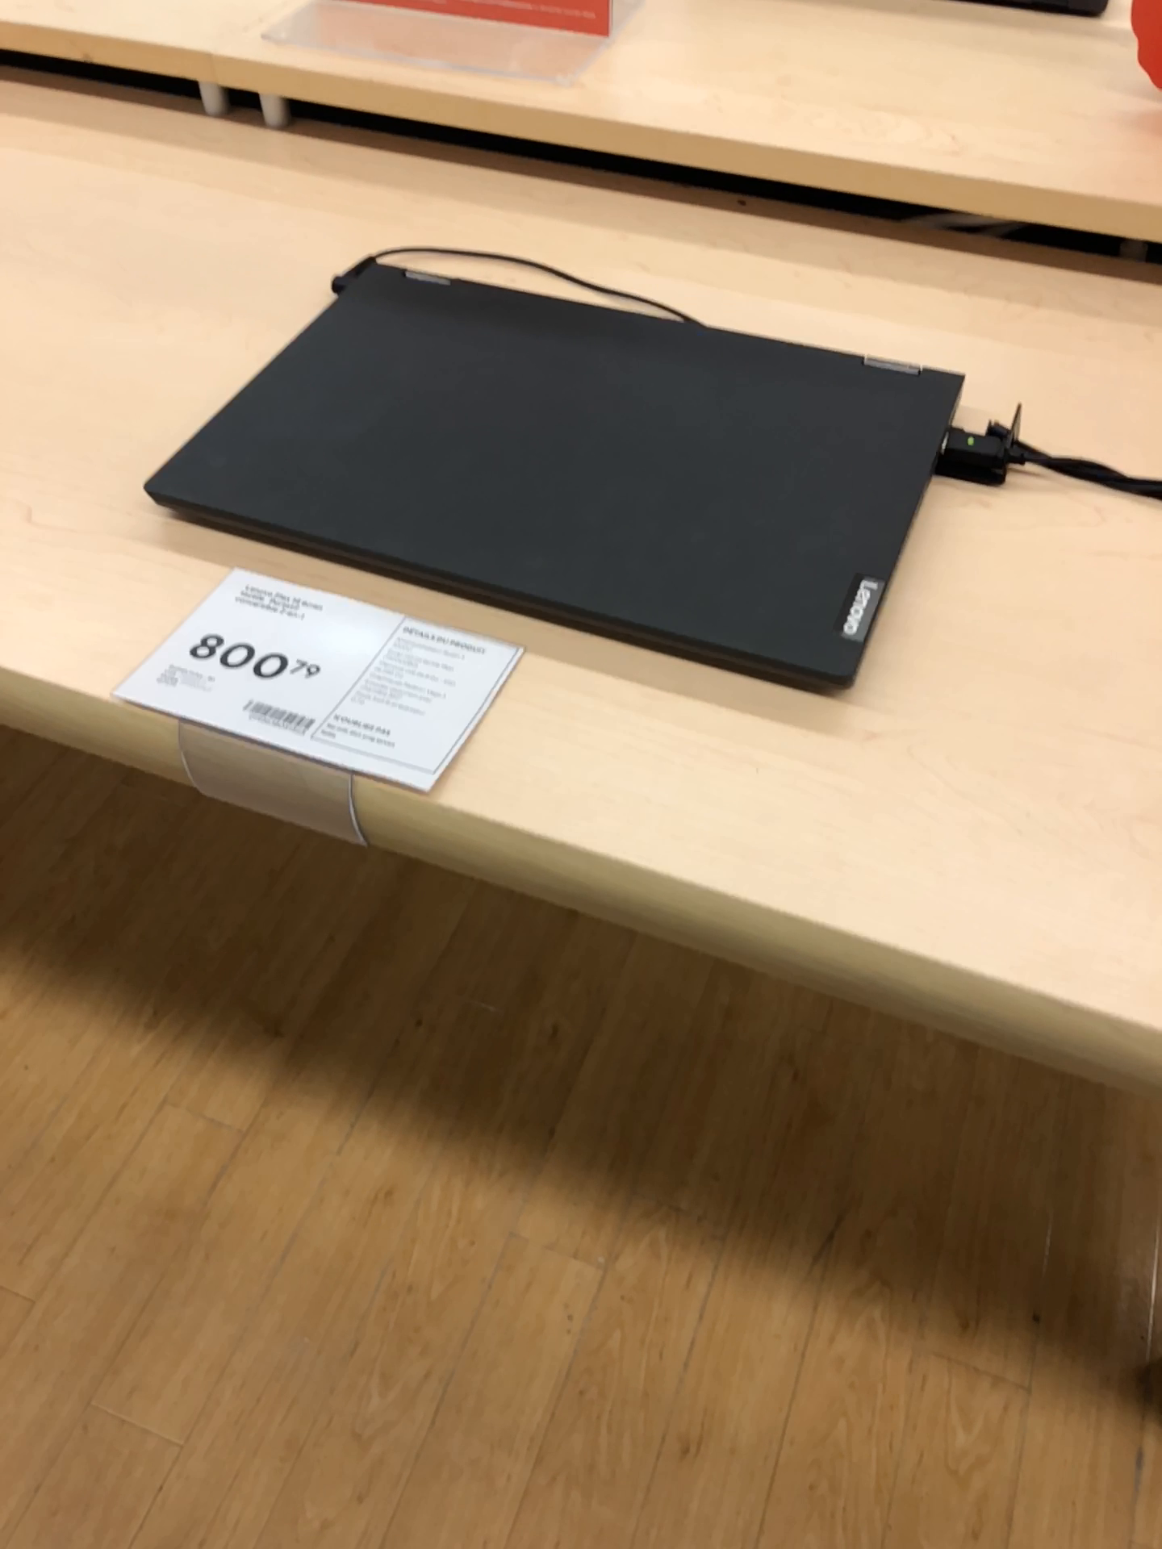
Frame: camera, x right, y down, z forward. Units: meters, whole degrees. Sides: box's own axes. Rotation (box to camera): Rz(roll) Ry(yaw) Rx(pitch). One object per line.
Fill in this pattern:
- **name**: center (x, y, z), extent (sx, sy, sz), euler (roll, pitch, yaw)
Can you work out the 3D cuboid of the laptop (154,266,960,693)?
- **laptop**: center (-0.004, -0.158, 0.616), extent (0.326, 0.009, 0.212), euler (17, 53, 14)
